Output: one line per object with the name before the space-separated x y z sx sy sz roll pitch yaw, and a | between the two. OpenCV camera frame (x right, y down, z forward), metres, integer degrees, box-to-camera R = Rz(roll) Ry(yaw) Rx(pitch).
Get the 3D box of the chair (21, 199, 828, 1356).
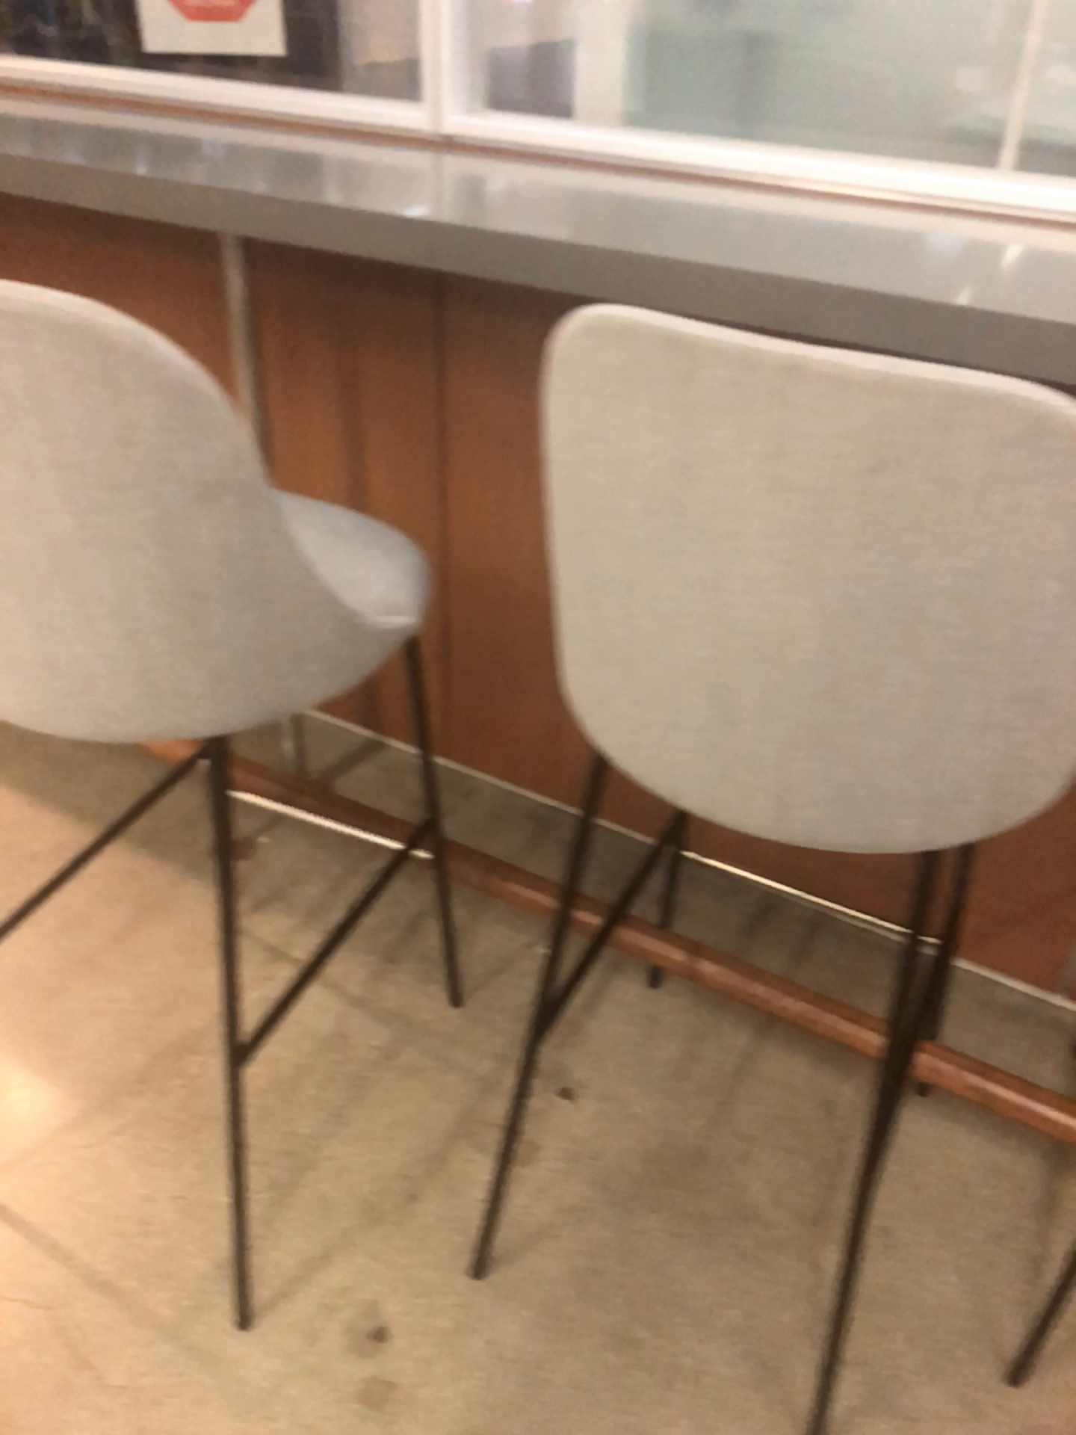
chair | -0.115 0.112 1.787 0.710 1.487 0.625 17 36 21
